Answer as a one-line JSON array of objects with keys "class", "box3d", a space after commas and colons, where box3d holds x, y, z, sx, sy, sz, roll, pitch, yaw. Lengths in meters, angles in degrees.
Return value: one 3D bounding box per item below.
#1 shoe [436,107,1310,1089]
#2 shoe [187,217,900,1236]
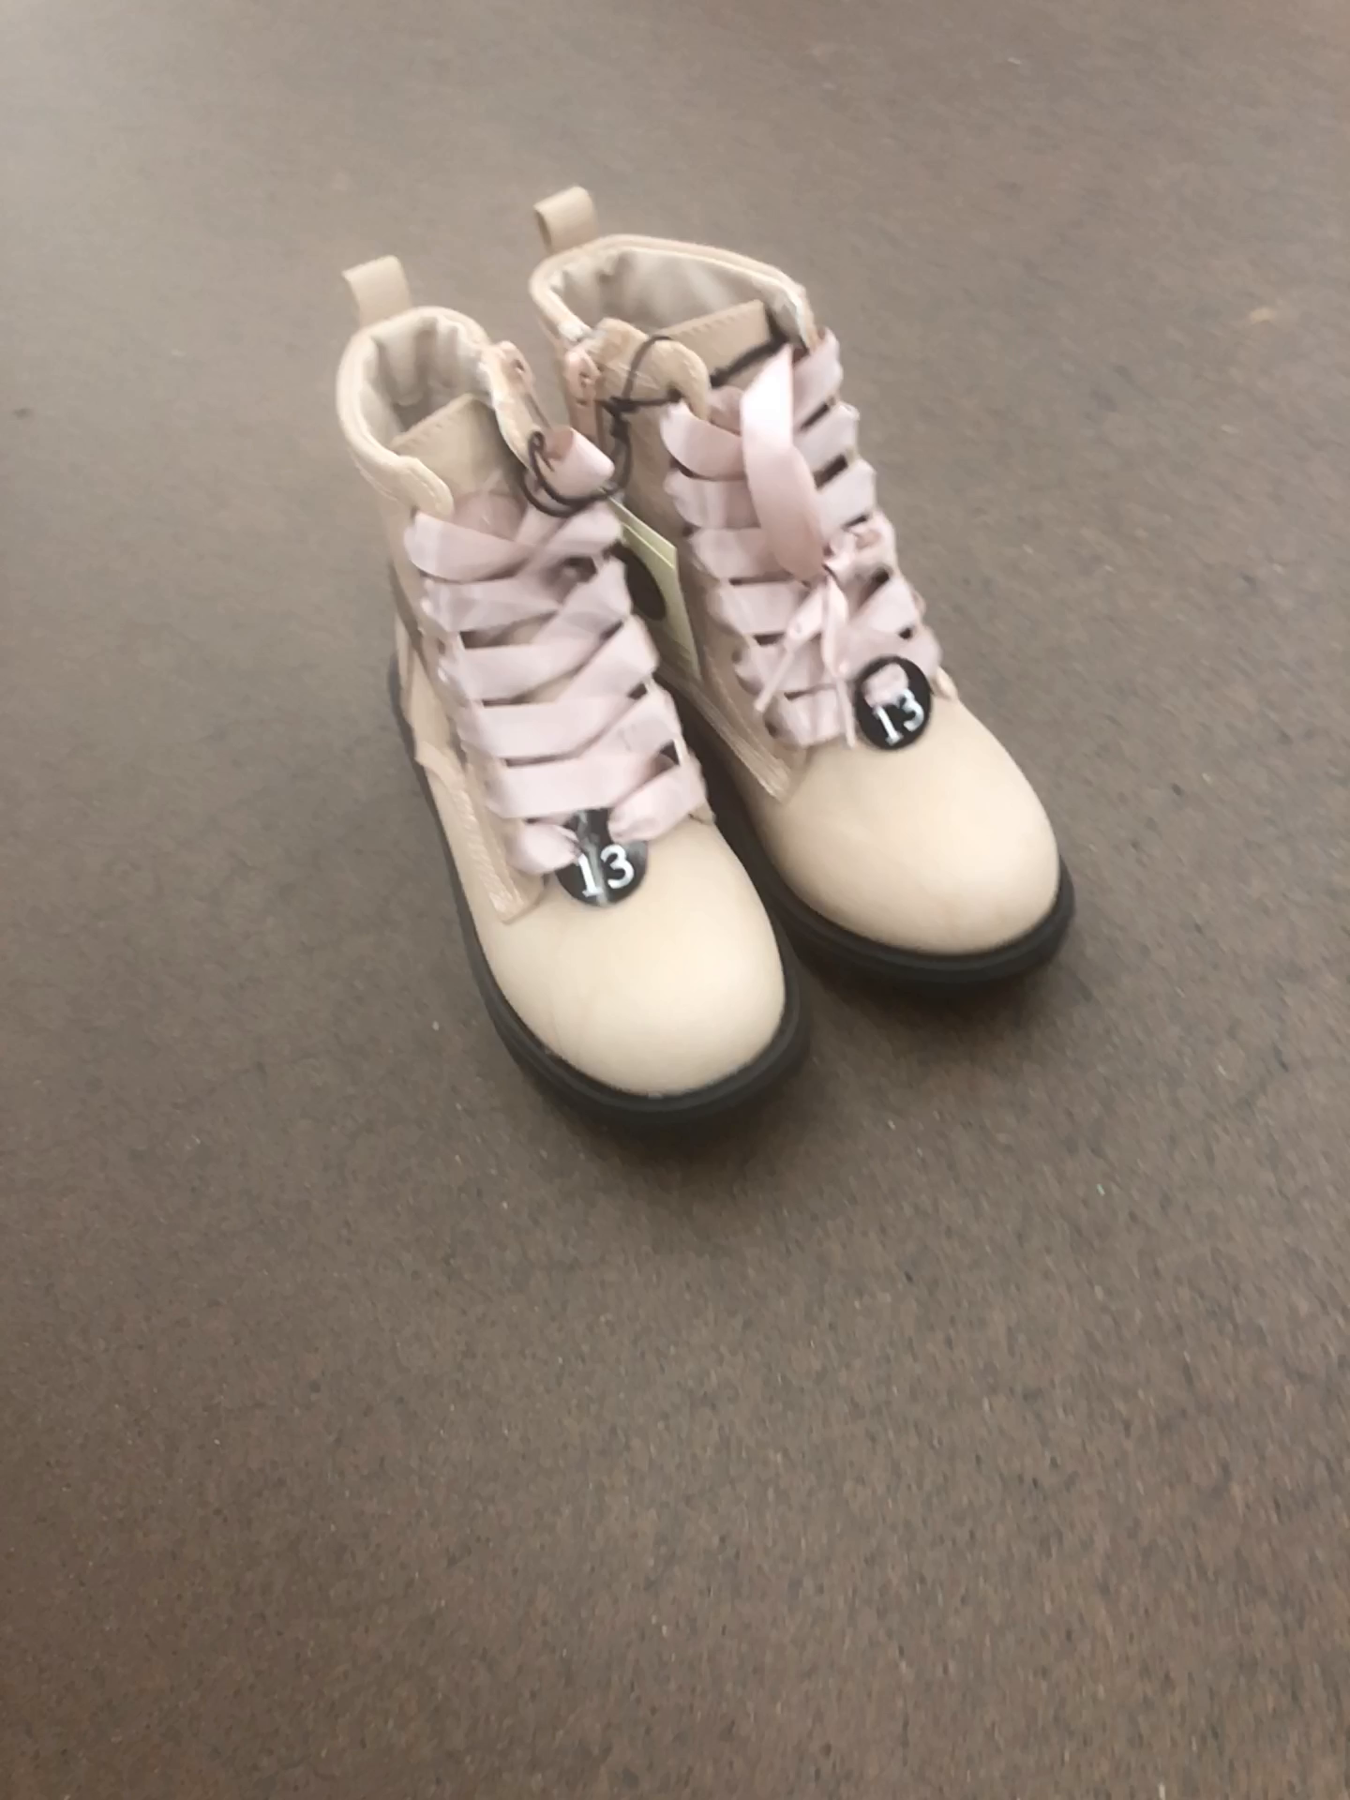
[{"class": "shoe", "box3d": [0.039, -0.085, 0.420, 0.090, 0.150, 0.220, -31, 60, -15]}, {"class": "shoe", "box3d": [-0.038, -0.049, 0.413, 0.090, 0.150, 0.220, -23, 58, -11]}]
